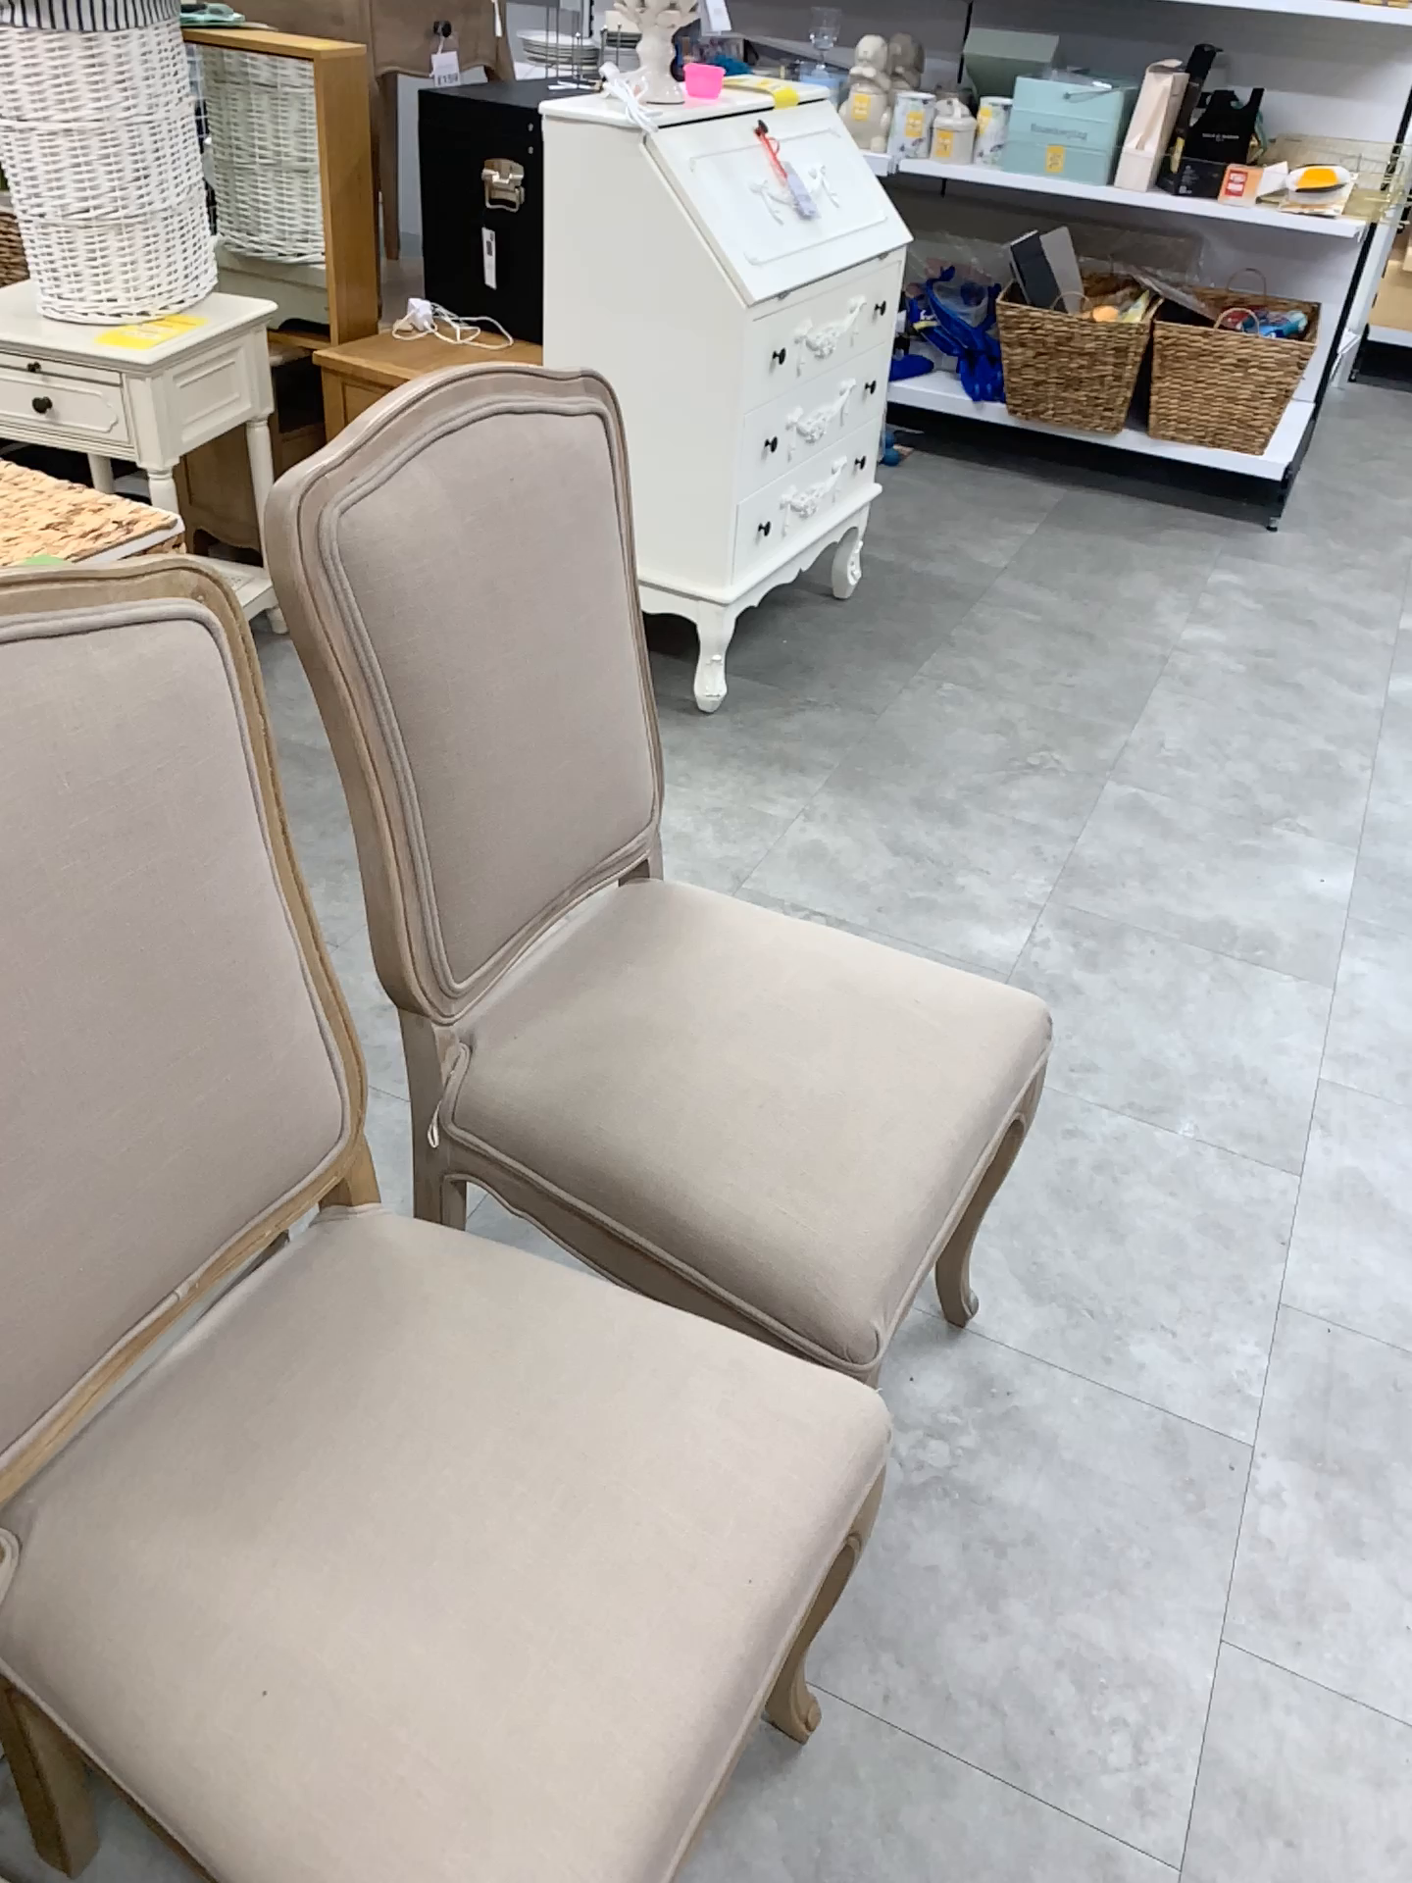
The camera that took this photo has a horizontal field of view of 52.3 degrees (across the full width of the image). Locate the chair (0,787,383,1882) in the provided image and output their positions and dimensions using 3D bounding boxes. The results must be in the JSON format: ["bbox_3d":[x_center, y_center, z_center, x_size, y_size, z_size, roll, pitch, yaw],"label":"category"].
[{"bbox_3d":[-0.517,0.558,0.528,0.546,0.973,0.510,24,41,19],"label":"chair"}]

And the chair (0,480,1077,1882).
[{"bbox_3d":[-0.232,0.331,0.906,0.546,0.973,0.510,24,41,19],"label":"chair"}]

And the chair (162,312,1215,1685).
[{"bbox_3d":[-0.023,0.071,1.269,0.546,0.973,0.511,21,41,15],"label":"chair"}]
